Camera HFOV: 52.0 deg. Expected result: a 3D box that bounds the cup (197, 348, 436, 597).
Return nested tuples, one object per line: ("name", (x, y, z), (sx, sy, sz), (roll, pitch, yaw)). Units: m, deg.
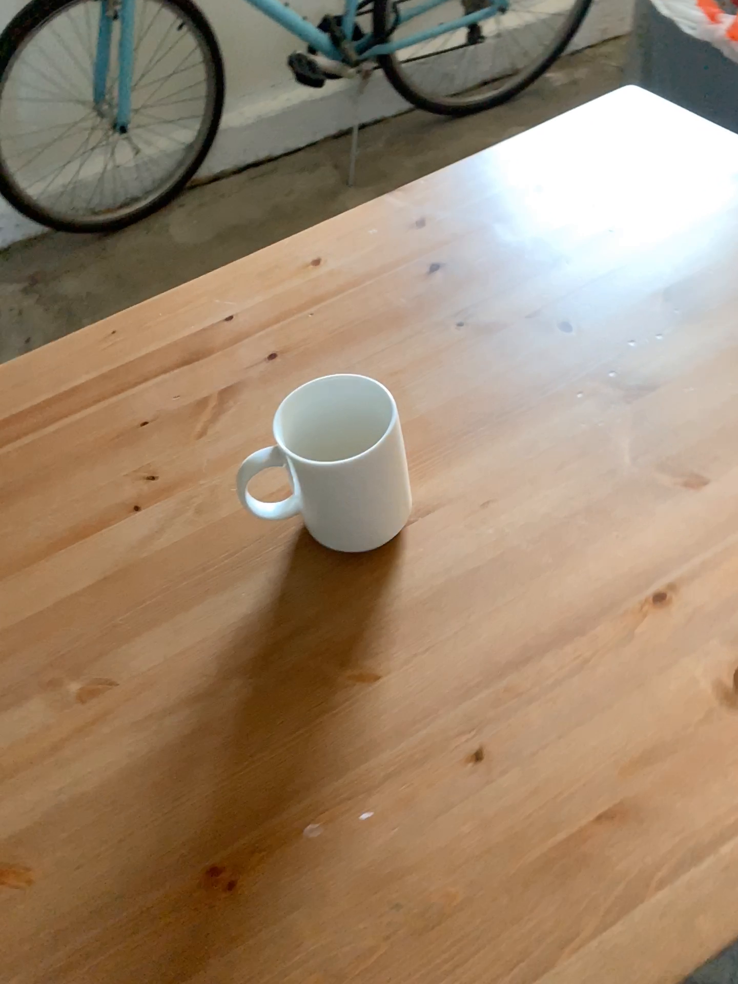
("cup", (-0.035, -0.014, 0.549), (0.130, 0.100, 0.100), (-23, 53, -8))
